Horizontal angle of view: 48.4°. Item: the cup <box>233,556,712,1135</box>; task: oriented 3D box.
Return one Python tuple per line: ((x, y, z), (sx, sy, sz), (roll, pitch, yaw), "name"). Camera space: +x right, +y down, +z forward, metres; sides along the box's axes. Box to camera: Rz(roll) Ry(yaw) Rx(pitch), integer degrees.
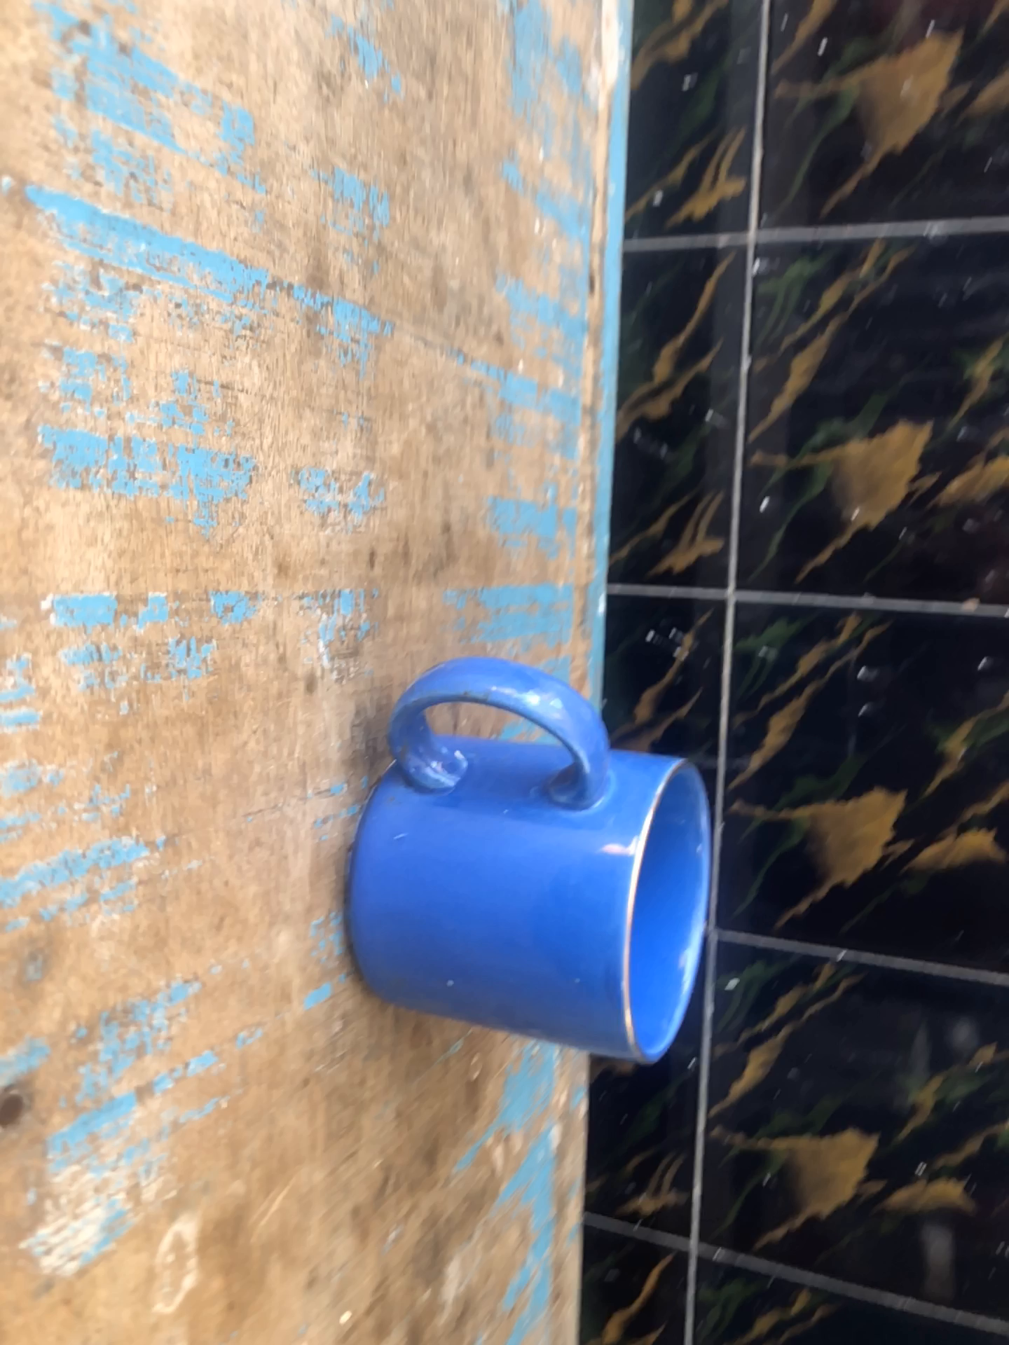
((0.002, 0.039, 0.263), (0.070, 0.070, 0.110), (-62, 148, -45), "cup")
